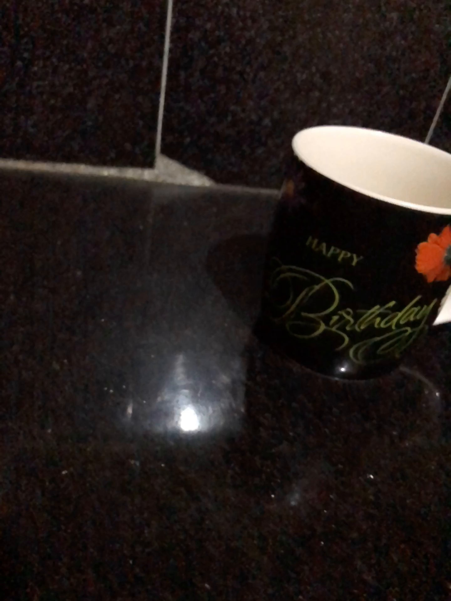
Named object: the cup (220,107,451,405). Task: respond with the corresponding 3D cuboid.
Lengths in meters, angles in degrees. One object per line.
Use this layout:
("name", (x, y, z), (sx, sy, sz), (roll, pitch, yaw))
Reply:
("cup", (0.072, -0.020, 0.232), (0.130, 0.089, 0.091), (5, 36, -10))
